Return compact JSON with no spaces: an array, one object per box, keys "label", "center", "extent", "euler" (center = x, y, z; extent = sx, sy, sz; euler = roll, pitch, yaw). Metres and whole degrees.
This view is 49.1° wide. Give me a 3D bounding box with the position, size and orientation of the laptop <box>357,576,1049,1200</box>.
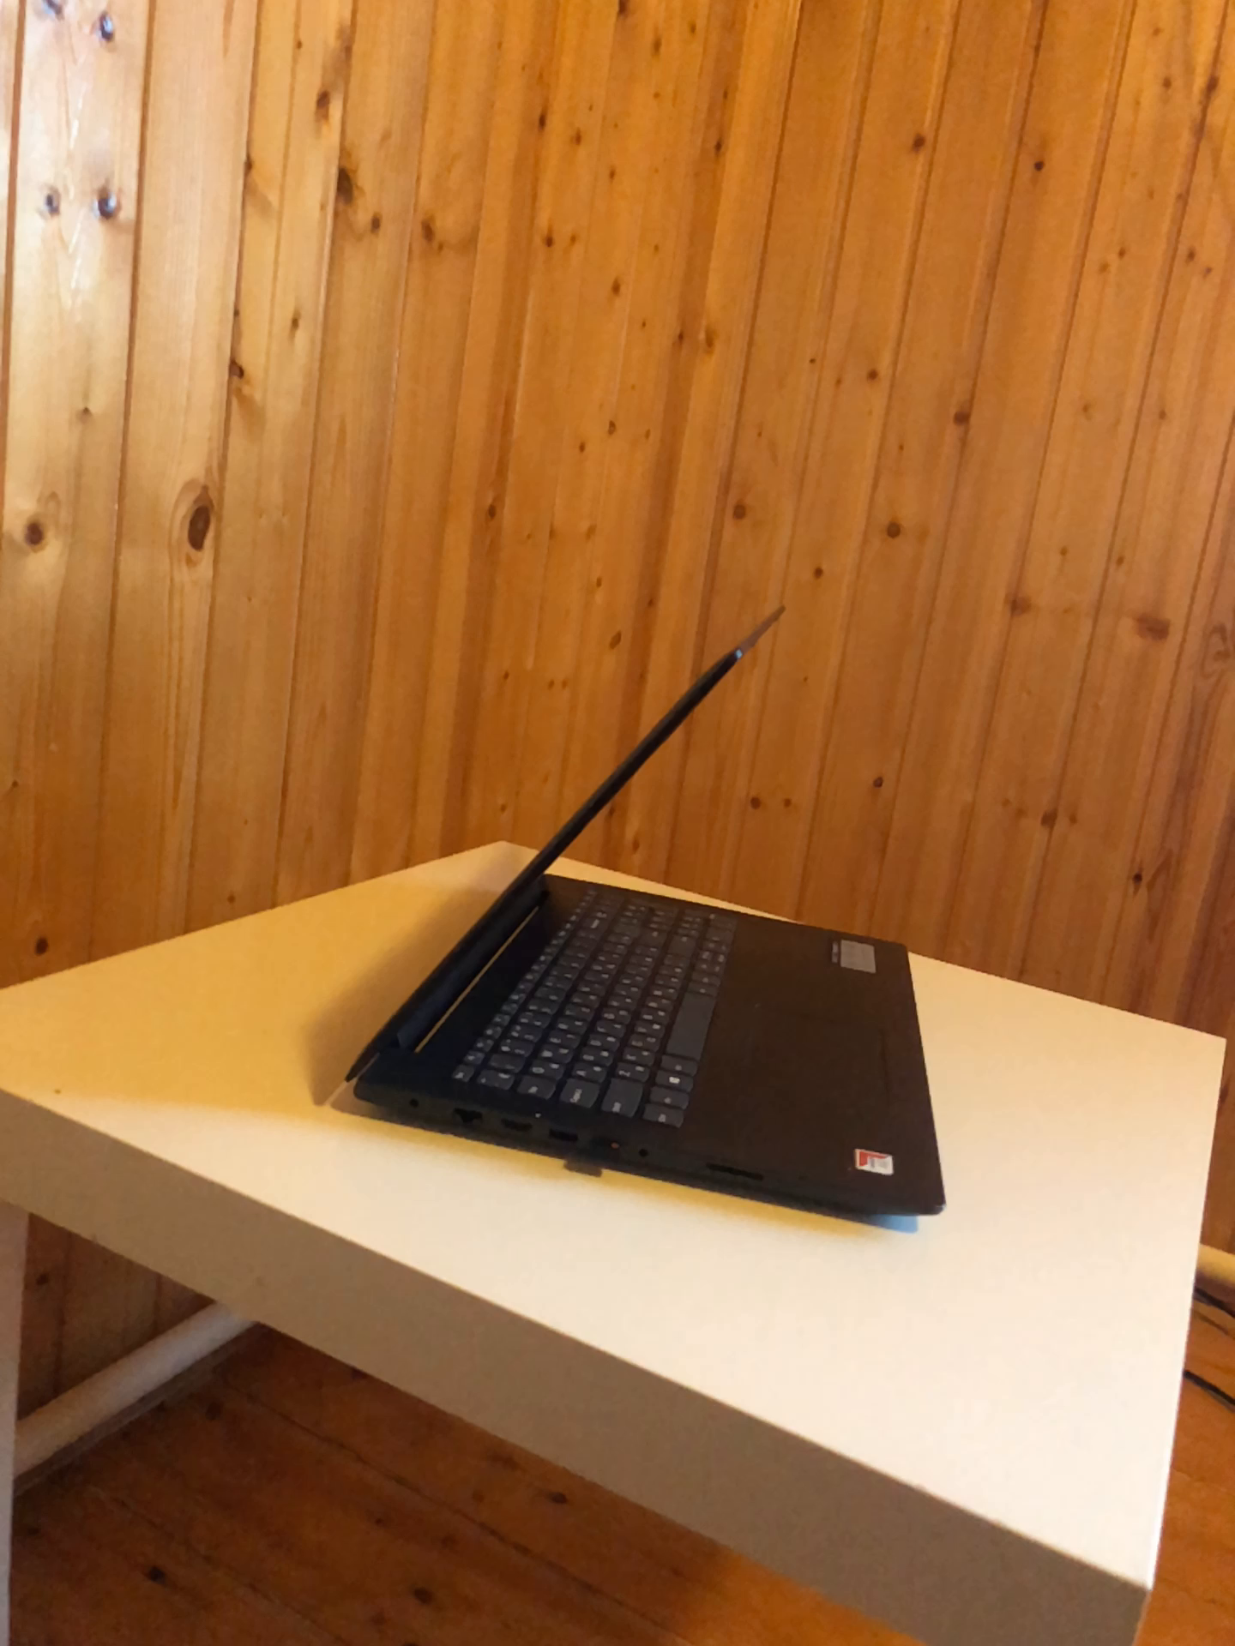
[{"label":"laptop","center":[0.057,-0.006,0.720],"extent":[0.249,0.206,0.374],"euler":[9,13,8]}]
